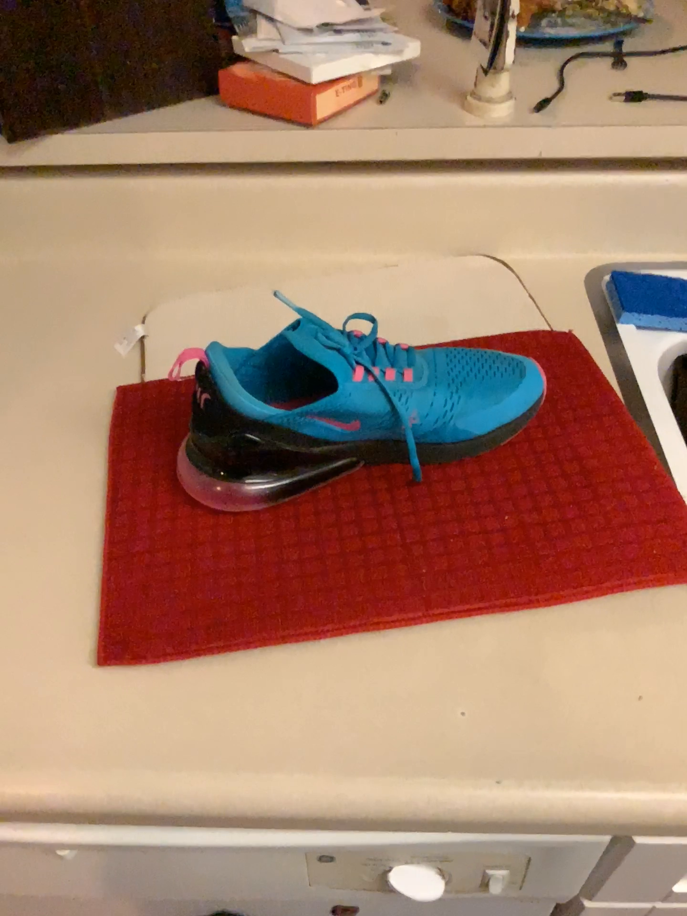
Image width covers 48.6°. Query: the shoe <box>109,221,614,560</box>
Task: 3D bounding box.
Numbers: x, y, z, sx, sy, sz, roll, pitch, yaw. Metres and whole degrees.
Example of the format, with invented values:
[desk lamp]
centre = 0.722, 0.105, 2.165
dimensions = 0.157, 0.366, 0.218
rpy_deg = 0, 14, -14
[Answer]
[shoe]
centre = 0.008, -0.060, 0.590
dimensions = 0.330, 0.130, 0.150
rpy_deg = -14, 47, -11
